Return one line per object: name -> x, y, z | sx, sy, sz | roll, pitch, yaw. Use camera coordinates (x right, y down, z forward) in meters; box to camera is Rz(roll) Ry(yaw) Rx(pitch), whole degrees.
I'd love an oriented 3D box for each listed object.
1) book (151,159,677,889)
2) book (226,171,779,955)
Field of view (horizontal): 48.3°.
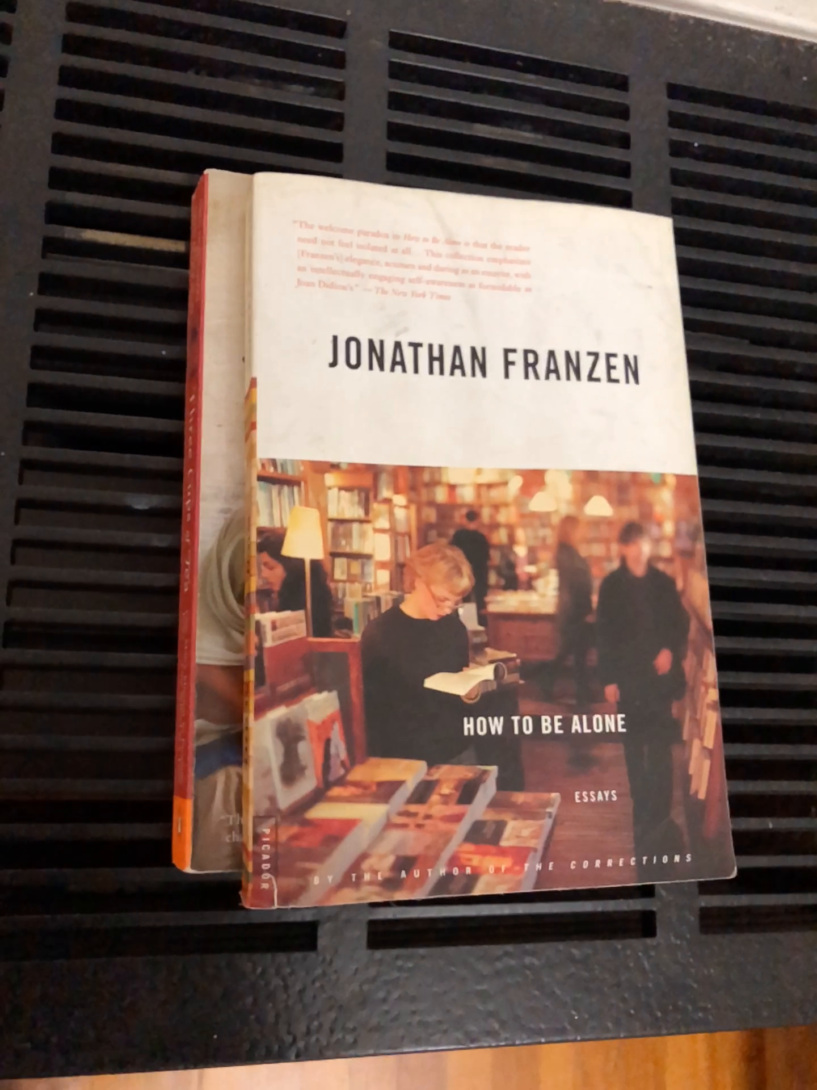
book -> -0.001, -0.011, 0.288 | 0.150, 0.030, 0.210 | 0, 79, -13
book -> 0.023, -0.001, 0.272 | 0.150, 0.030, 0.210 | 0, 79, -13
